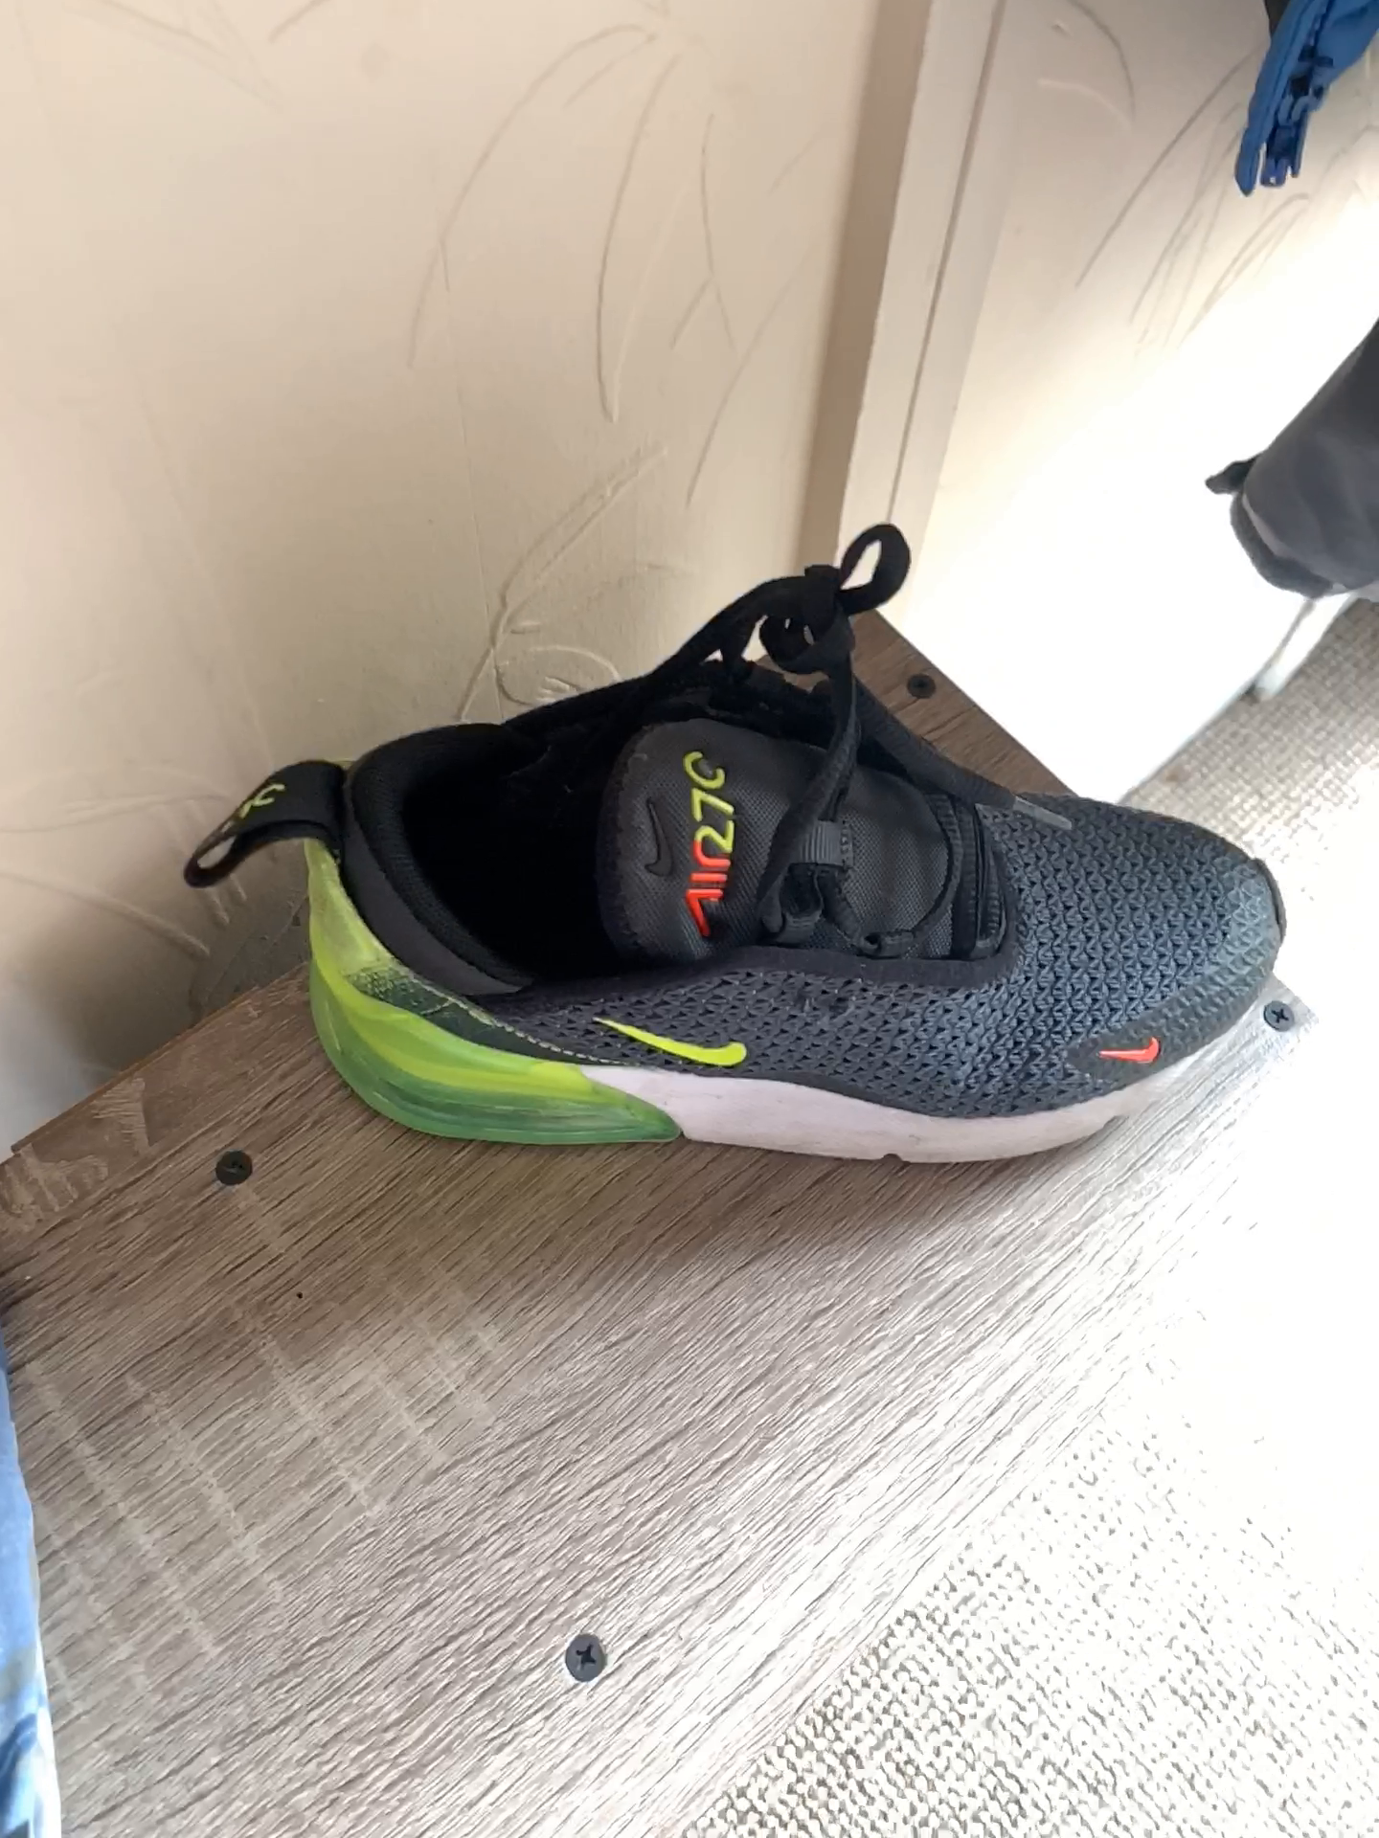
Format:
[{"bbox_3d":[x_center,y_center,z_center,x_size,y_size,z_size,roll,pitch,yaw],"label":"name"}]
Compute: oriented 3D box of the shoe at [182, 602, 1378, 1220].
[{"bbox_3d":[0.025,0.002,0.333,0.247,0.109,0.091,-3,62,-5],"label":"shoe"}]
